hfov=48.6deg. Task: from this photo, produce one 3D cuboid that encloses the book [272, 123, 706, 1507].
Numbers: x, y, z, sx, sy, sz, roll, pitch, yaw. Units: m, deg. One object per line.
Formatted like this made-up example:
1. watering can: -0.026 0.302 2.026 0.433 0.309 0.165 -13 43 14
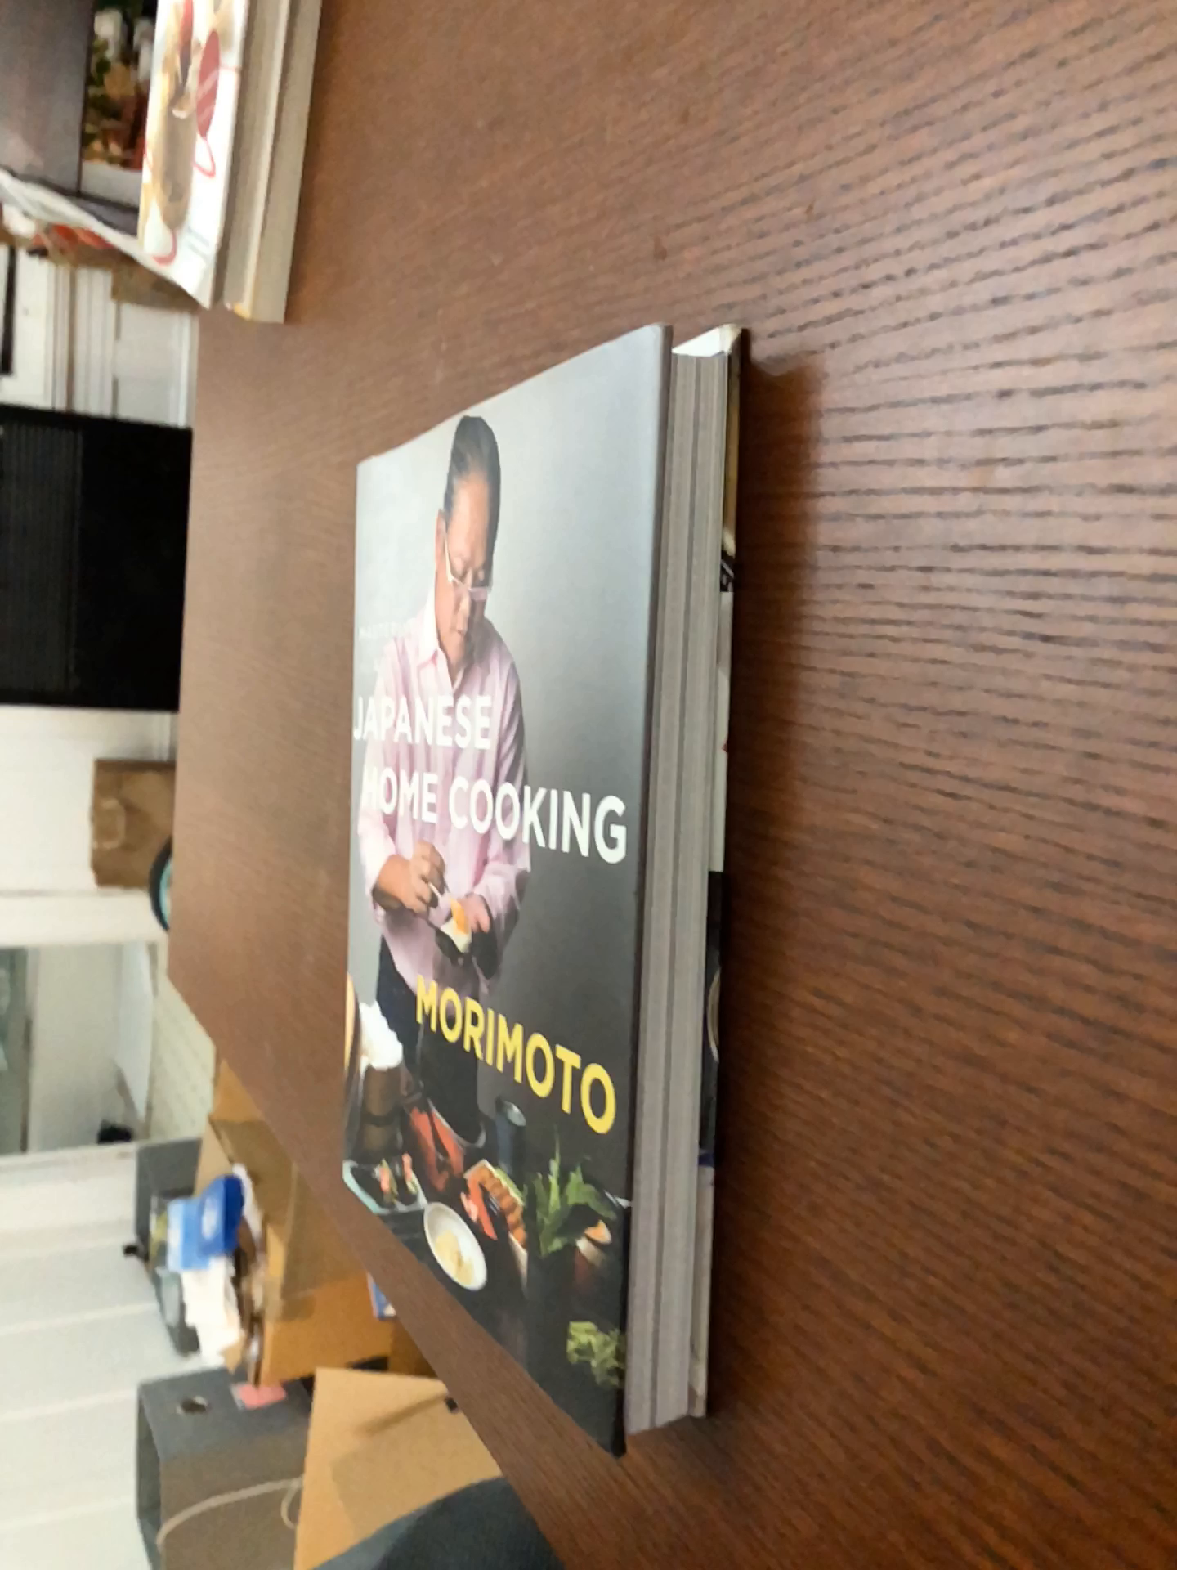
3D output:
1. book: -0.046 0.004 0.386 0.221 0.030 0.300 7 95 62
